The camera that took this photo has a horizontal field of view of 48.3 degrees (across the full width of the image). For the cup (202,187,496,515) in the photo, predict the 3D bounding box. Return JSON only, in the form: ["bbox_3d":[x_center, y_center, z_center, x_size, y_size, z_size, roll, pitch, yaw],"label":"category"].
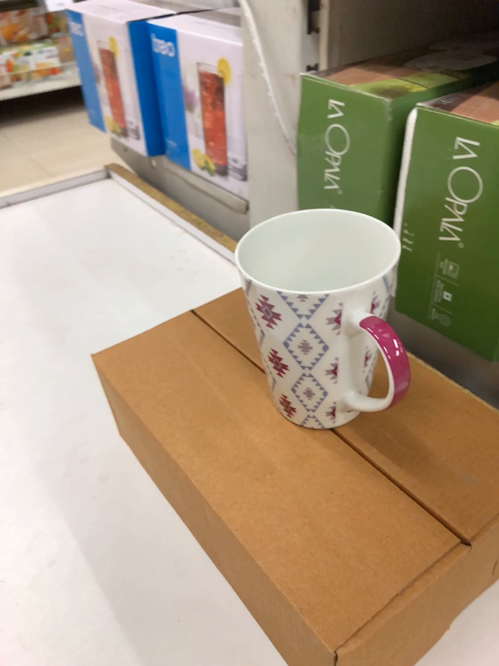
[{"bbox_3d":[0.040,0.001,0.287,0.080,0.099,0.121,-18,40,-19],"label":"cup"}]
